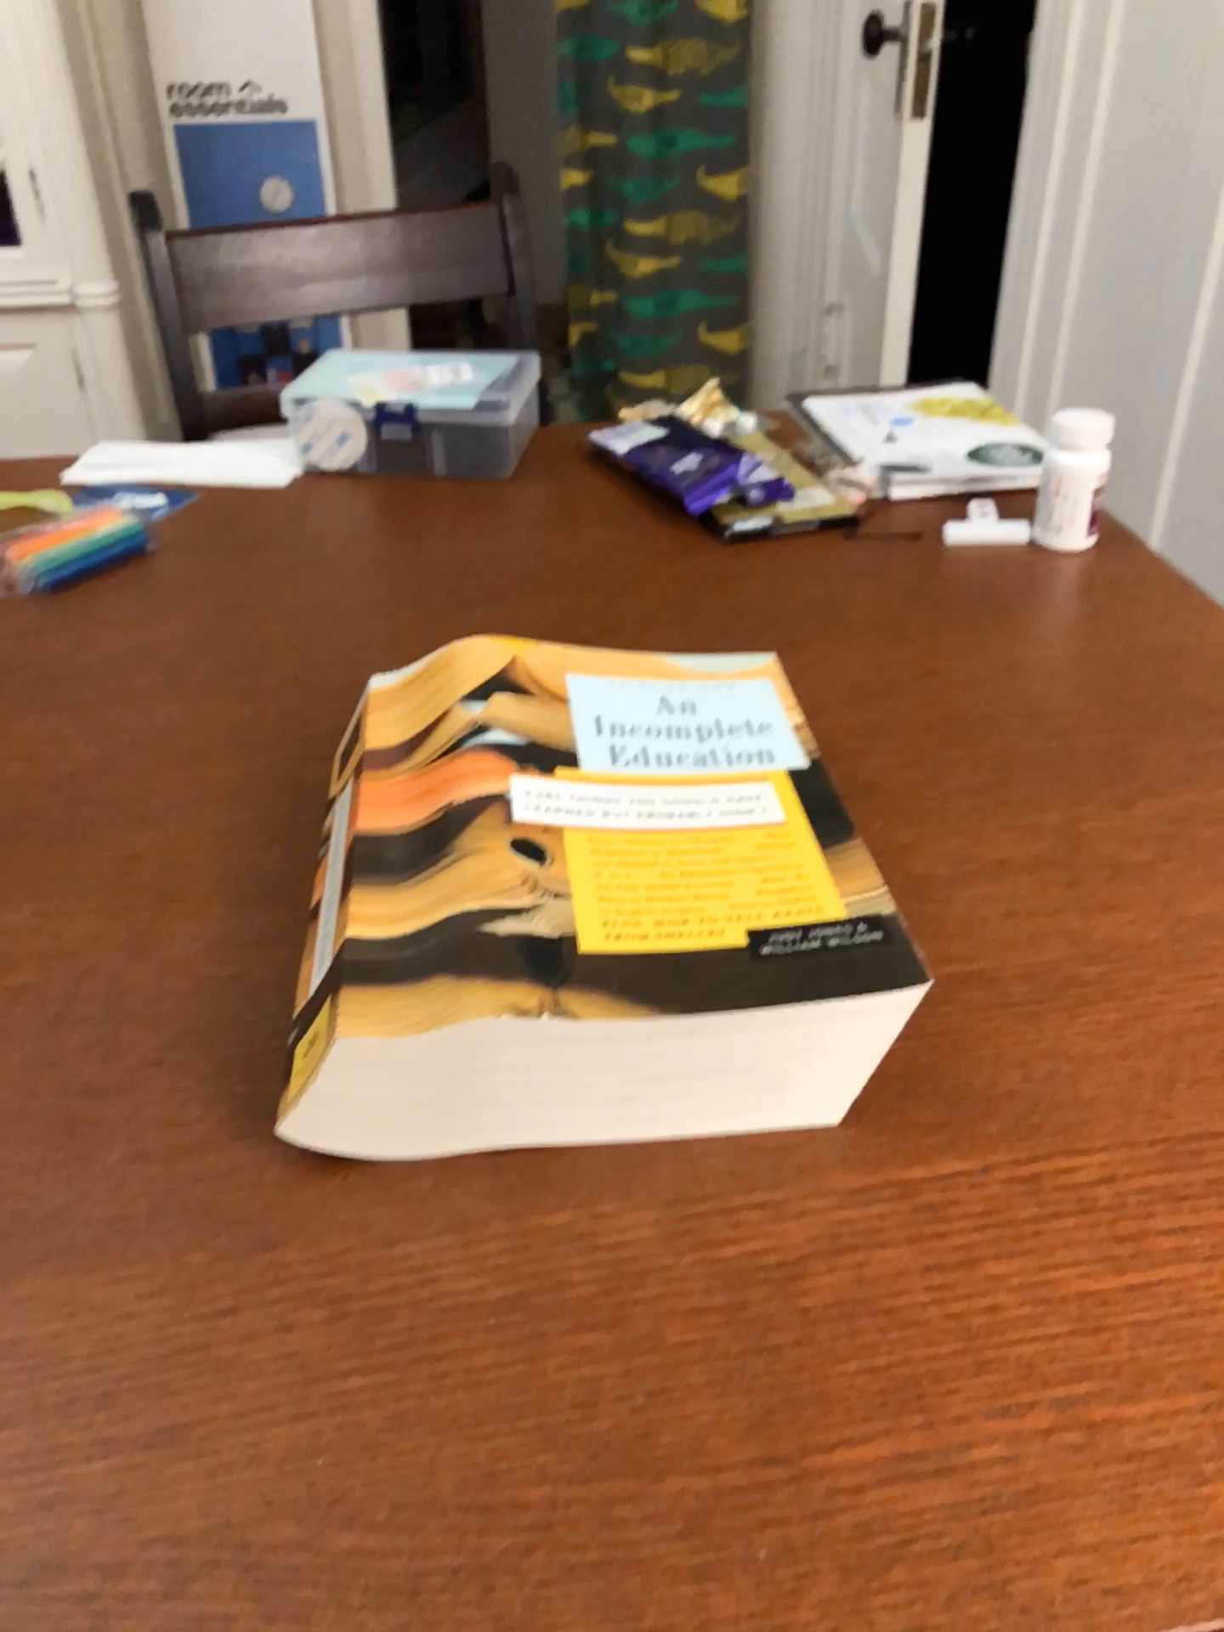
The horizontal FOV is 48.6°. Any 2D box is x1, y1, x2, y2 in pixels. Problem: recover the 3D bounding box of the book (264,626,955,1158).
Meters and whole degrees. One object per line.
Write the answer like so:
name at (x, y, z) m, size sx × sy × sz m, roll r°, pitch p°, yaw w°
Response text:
book at (-0.016, 0.016, 0.525) m, size 0.210 × 0.060 × 0.251 m, roll 3°, pitch 33°, yaw -11°
